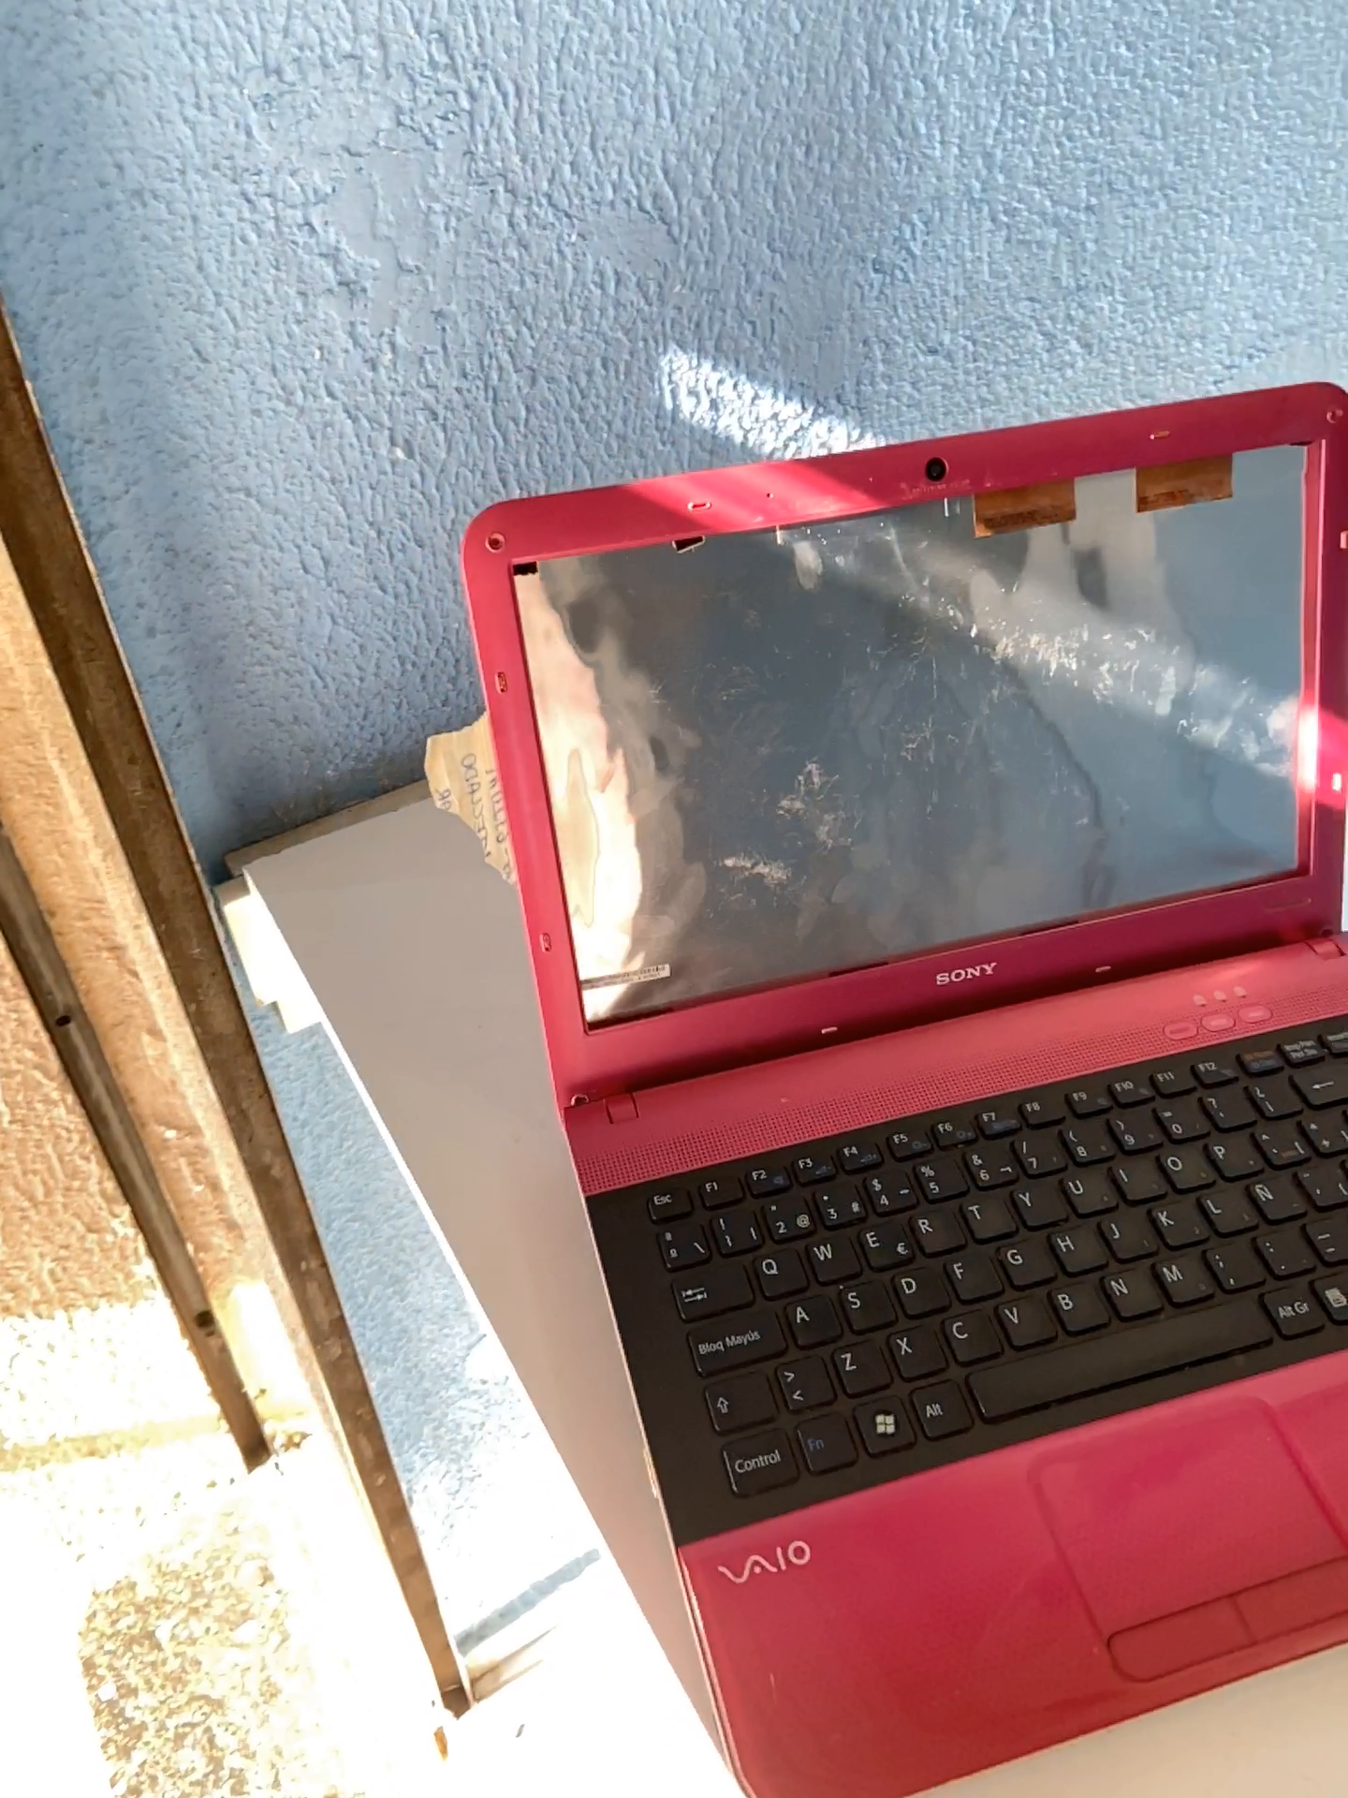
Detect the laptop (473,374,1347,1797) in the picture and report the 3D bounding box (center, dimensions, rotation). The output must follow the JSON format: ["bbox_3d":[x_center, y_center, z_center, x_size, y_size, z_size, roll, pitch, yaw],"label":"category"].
[{"bbox_3d":[0.138,0.018,0.439,0.331,0.187,0.341,-11,45,-10],"label":"laptop"}]
